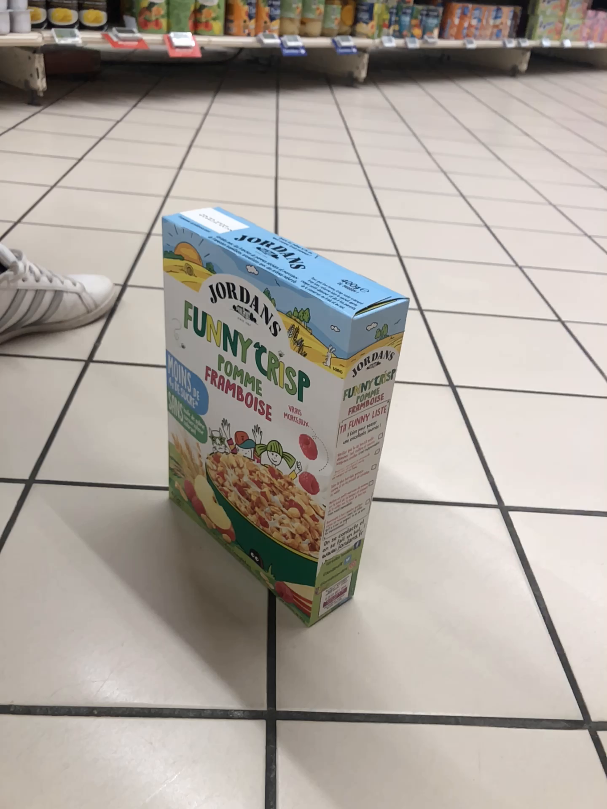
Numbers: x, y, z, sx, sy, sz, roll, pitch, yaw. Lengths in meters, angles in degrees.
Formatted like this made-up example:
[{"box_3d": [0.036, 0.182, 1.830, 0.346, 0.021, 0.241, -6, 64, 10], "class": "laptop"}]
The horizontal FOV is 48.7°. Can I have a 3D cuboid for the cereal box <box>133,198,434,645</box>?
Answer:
[{"box_3d": [-0.030, 0.007, 0.444, 0.070, 0.229, 0.180, -23, 43, -39], "class": "cereal box"}]
